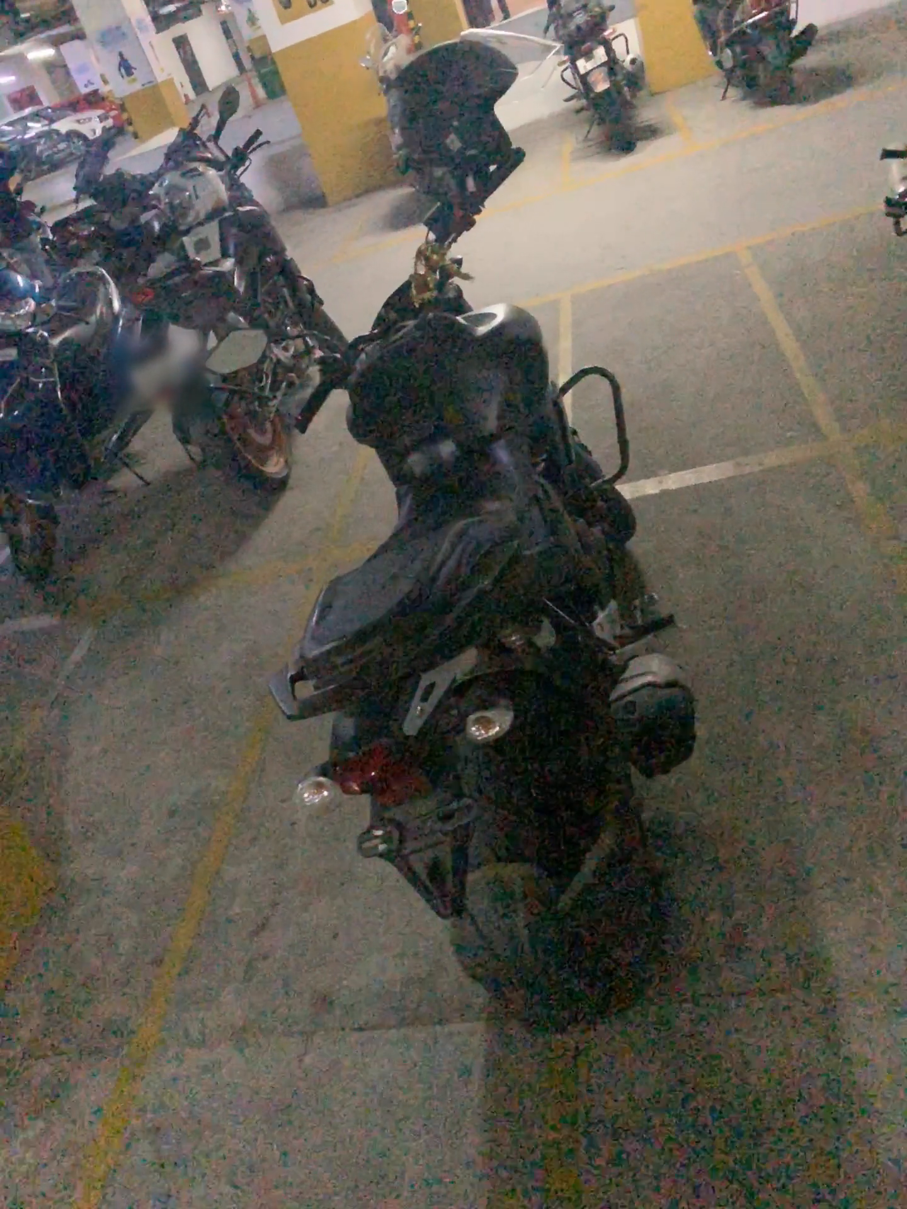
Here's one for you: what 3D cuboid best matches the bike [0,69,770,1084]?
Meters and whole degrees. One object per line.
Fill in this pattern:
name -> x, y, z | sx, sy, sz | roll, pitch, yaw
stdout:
bike -> -0.132, -0.223, 1.900 | 0.786, 1.096, 1.744 | -16, 37, 8
